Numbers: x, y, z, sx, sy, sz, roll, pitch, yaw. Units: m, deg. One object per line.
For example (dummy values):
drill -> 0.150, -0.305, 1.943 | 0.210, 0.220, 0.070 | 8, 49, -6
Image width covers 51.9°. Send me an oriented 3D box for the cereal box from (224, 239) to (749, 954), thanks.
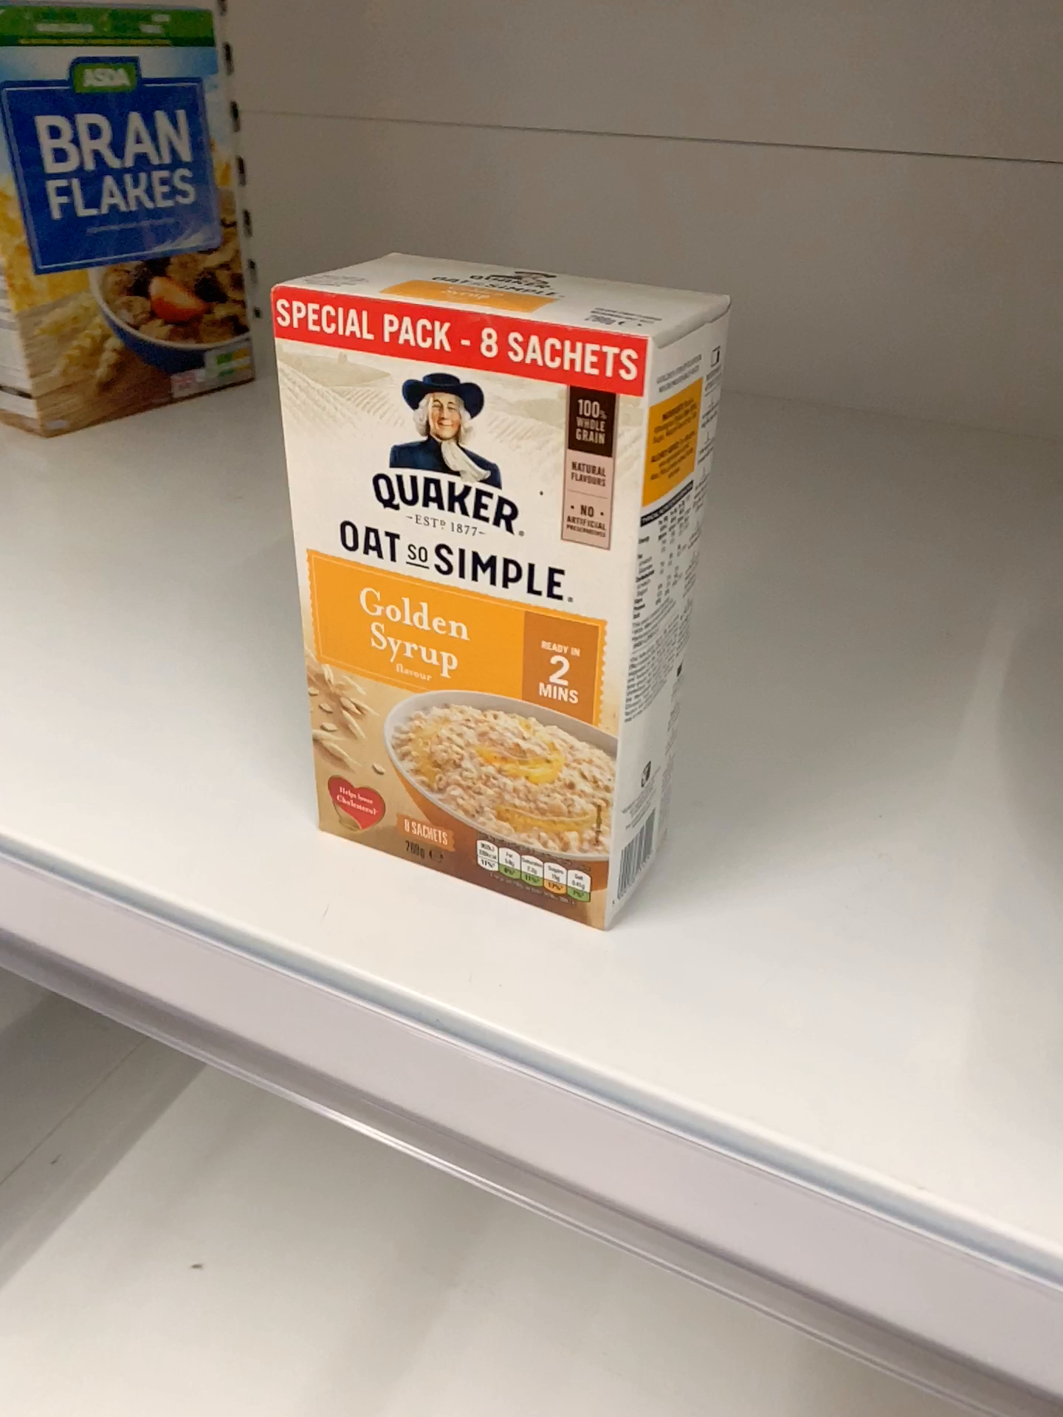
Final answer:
cereal box -> -0.016, -0.039, 0.377 | 0.140, 0.208, 0.071 | 15, 32, 21
